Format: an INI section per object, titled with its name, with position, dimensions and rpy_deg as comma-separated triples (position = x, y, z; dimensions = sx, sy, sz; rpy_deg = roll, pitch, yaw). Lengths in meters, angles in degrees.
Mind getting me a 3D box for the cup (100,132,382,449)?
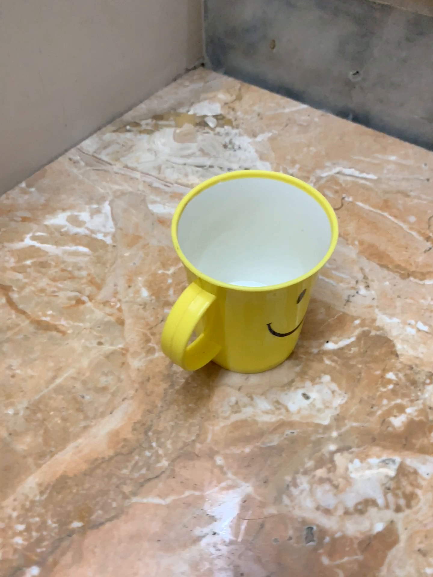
[cup]
position = 0.015, -0.001, 0.225
dimensions = 0.070, 0.089, 0.111
rpy_deg = 28, 58, 21
